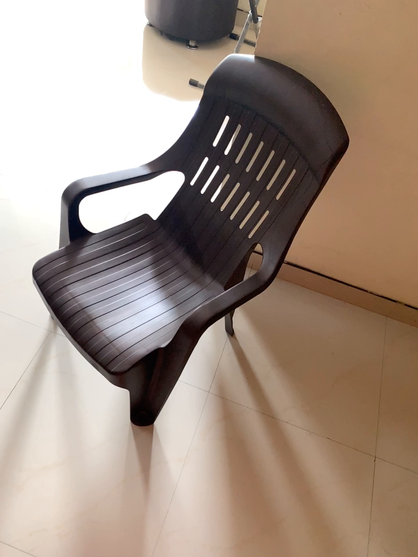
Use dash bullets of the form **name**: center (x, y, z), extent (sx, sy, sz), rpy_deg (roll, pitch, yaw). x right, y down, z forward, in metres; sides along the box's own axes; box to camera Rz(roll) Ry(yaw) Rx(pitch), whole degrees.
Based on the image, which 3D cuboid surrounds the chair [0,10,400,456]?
- **chair**: center (-0.112, -0.064, 1.279), extent (0.662, 1.033, 0.602), rpy_deg (-31, 65, -29)
